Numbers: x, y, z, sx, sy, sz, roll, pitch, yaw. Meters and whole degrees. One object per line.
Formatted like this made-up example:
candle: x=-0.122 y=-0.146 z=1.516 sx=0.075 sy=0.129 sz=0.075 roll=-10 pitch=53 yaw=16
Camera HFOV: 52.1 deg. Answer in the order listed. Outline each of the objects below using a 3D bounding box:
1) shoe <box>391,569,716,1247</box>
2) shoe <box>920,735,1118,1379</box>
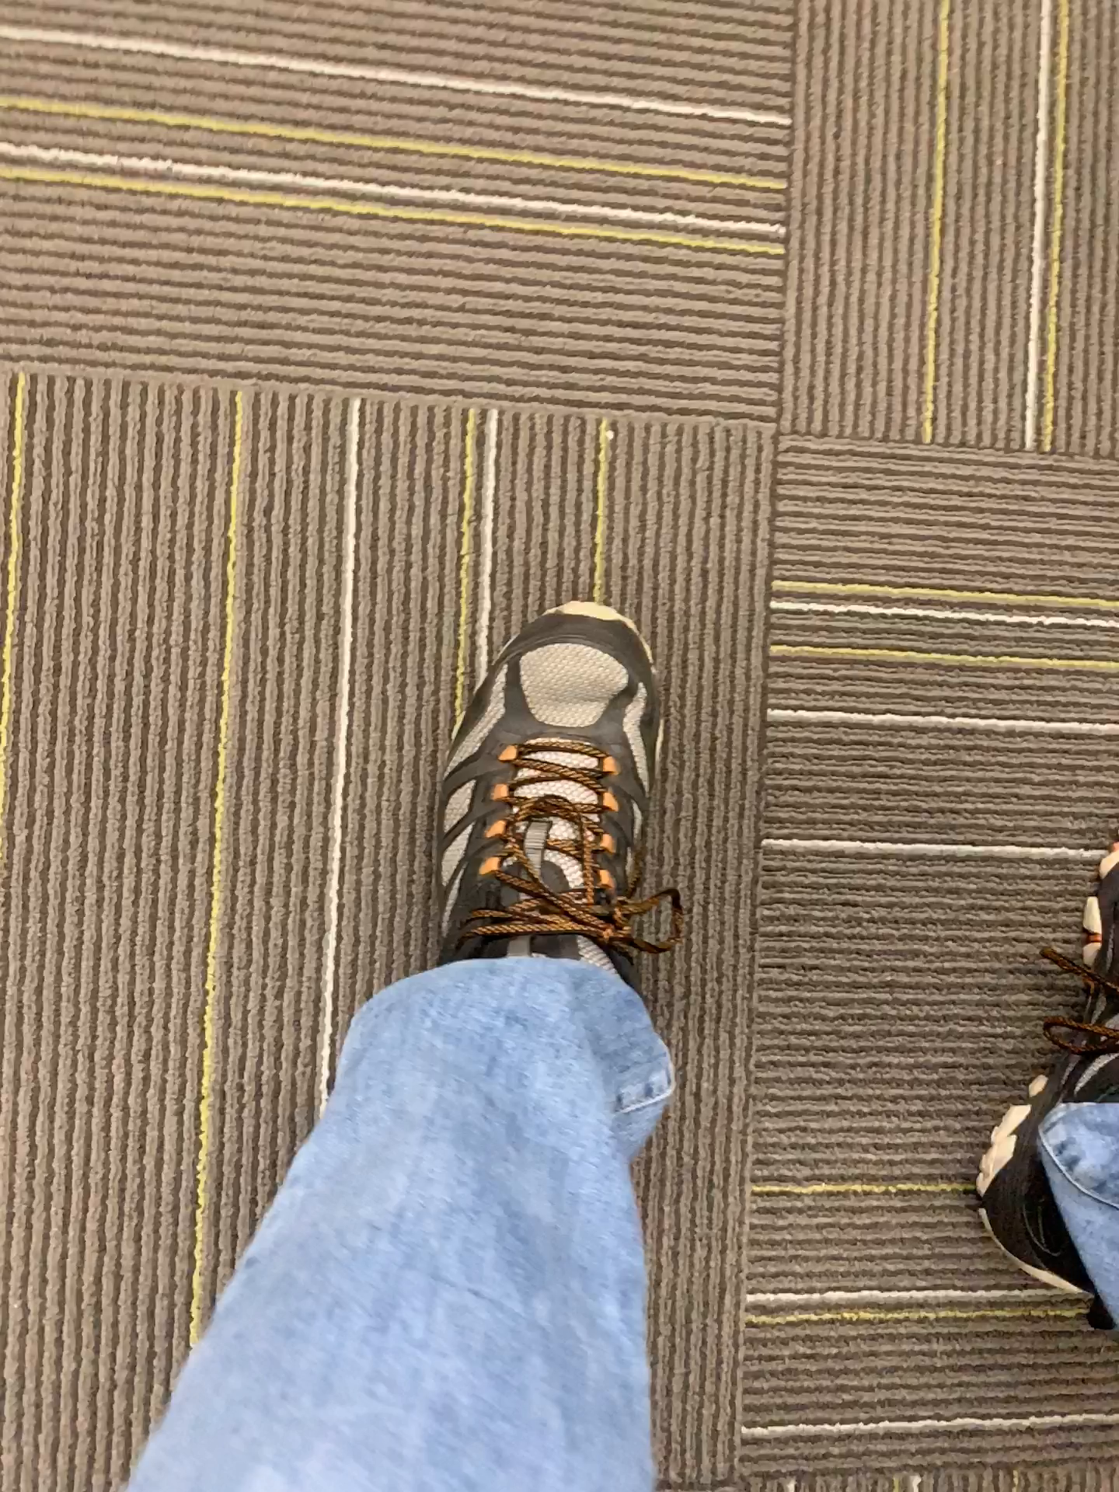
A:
shoe: x=-0.008 y=0.081 z=0.611 sx=0.125 sy=0.095 sz=0.323 roll=7 pitch=90 yaw=-7
shoe: x=0.349 y=0.165 z=0.657 sx=0.122 sy=0.095 sz=0.322 roll=27 pitch=87 yaw=-7
